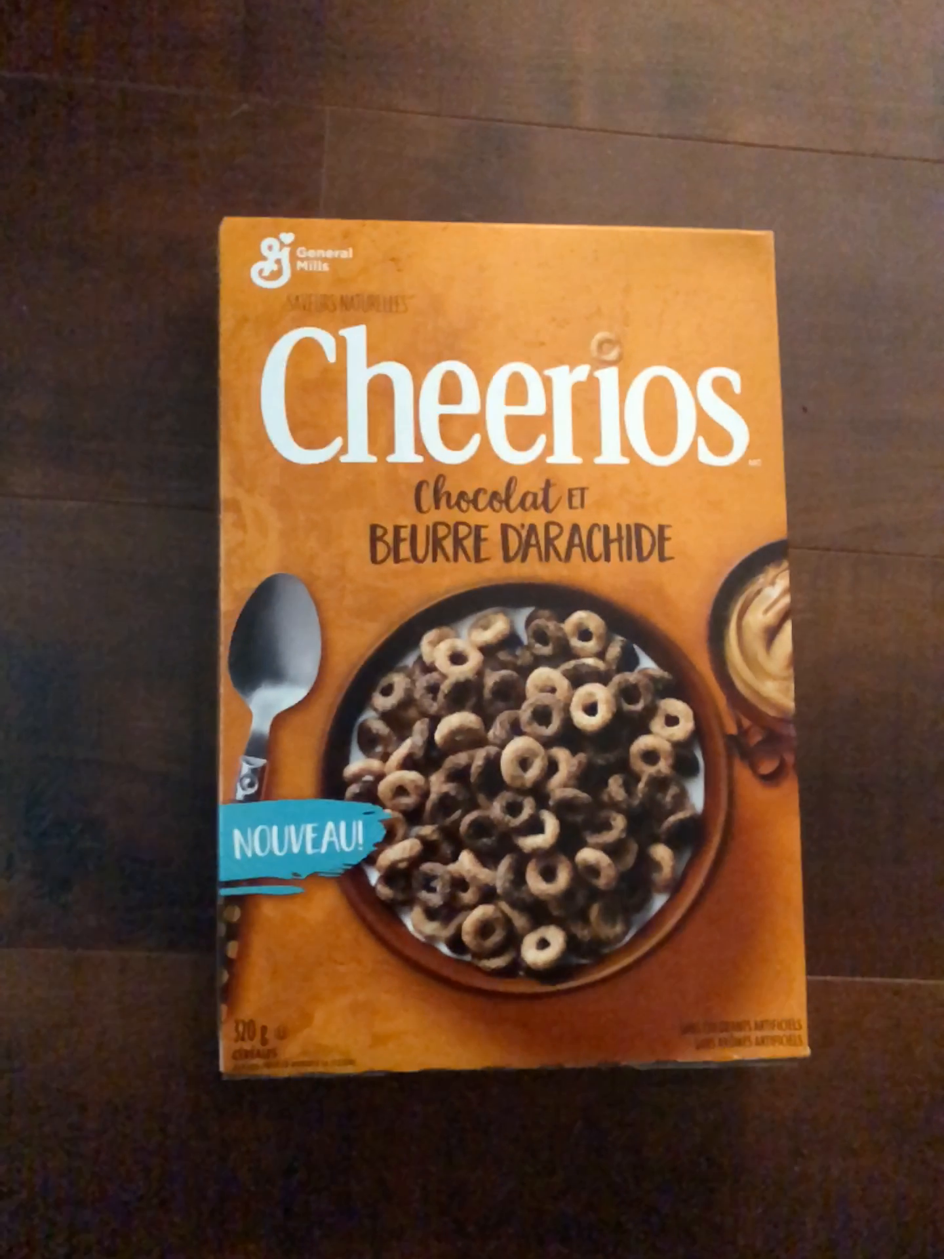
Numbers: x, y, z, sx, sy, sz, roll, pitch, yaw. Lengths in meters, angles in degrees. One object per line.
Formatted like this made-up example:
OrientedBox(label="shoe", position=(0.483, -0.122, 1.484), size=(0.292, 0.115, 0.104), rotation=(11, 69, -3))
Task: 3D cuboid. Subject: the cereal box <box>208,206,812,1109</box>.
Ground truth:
OrientedBox(label="cereal box", position=(0.011, 0.006, 0.382), size=(0.200, 0.060, 0.300), rotation=(0, 86, -4))
